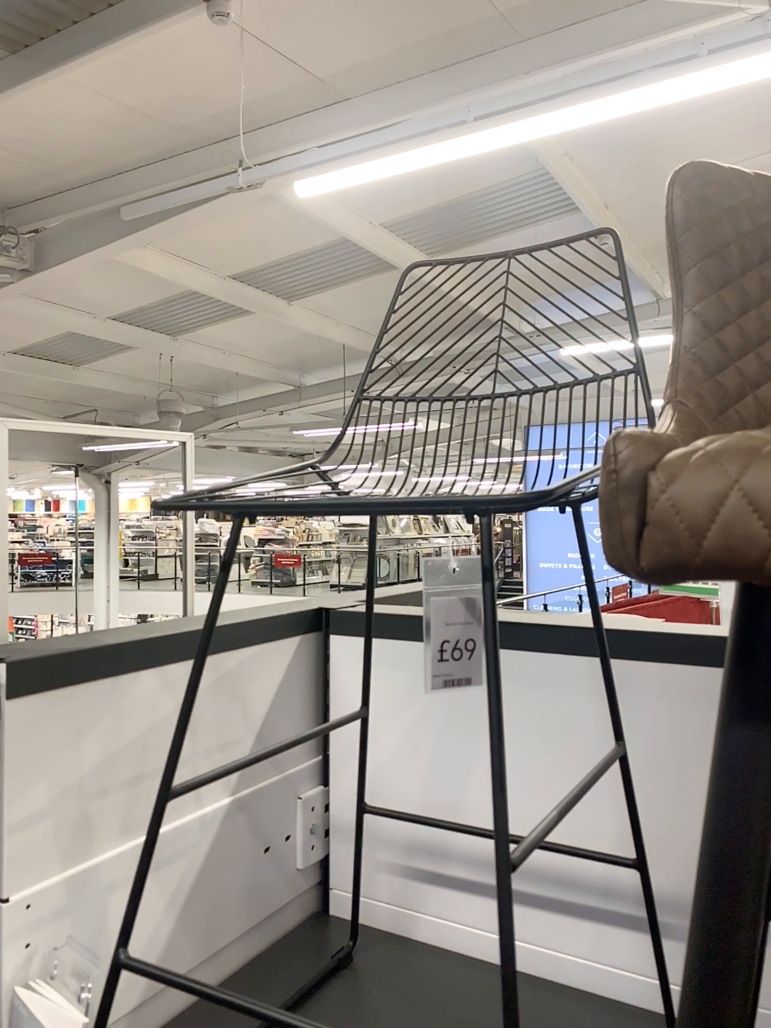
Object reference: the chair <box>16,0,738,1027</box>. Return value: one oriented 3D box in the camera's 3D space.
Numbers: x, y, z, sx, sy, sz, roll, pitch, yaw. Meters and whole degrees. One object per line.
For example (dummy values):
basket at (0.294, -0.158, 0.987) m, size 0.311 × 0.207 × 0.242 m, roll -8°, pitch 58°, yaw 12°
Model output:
chair at (0.037, 0.113, 0.784) m, size 0.508 × 0.968 × 0.528 m, roll -1°, pitch 0°, yaw 30°
